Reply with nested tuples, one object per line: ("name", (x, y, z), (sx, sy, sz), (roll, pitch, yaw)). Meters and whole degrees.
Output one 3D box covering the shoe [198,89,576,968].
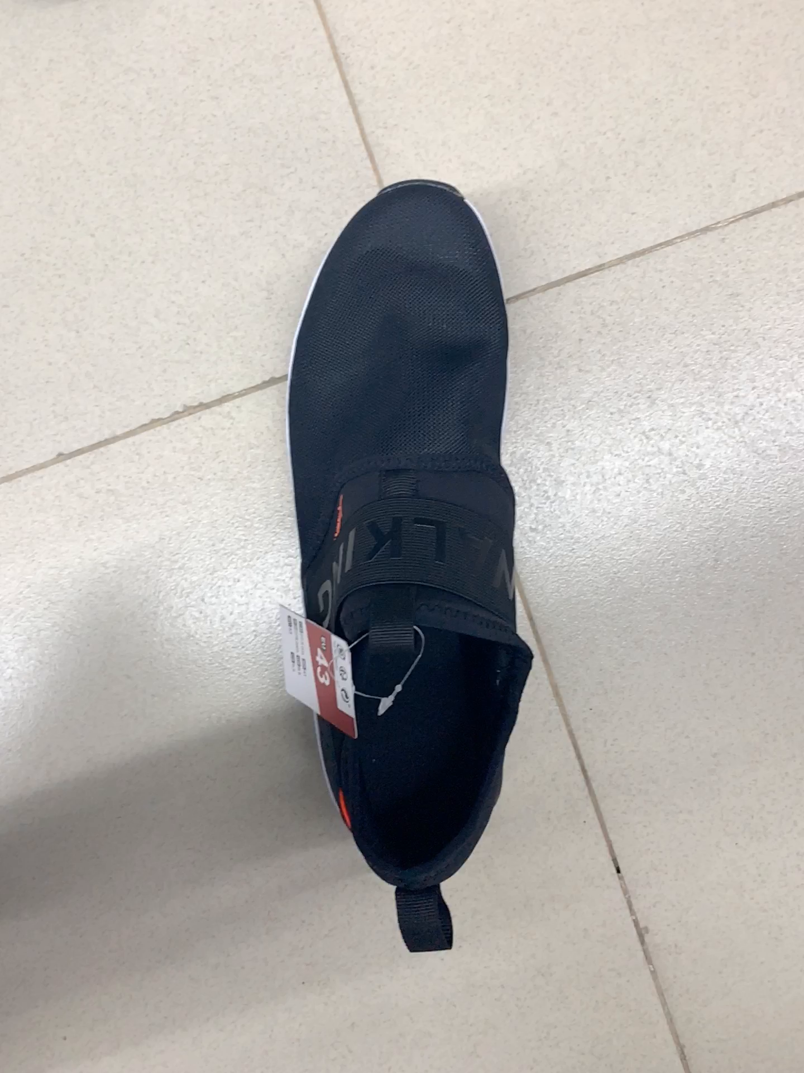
("shoe", (-0.001, 0.000, 0.328), (0.110, 0.120, 0.280), (-3, 91, 4))
